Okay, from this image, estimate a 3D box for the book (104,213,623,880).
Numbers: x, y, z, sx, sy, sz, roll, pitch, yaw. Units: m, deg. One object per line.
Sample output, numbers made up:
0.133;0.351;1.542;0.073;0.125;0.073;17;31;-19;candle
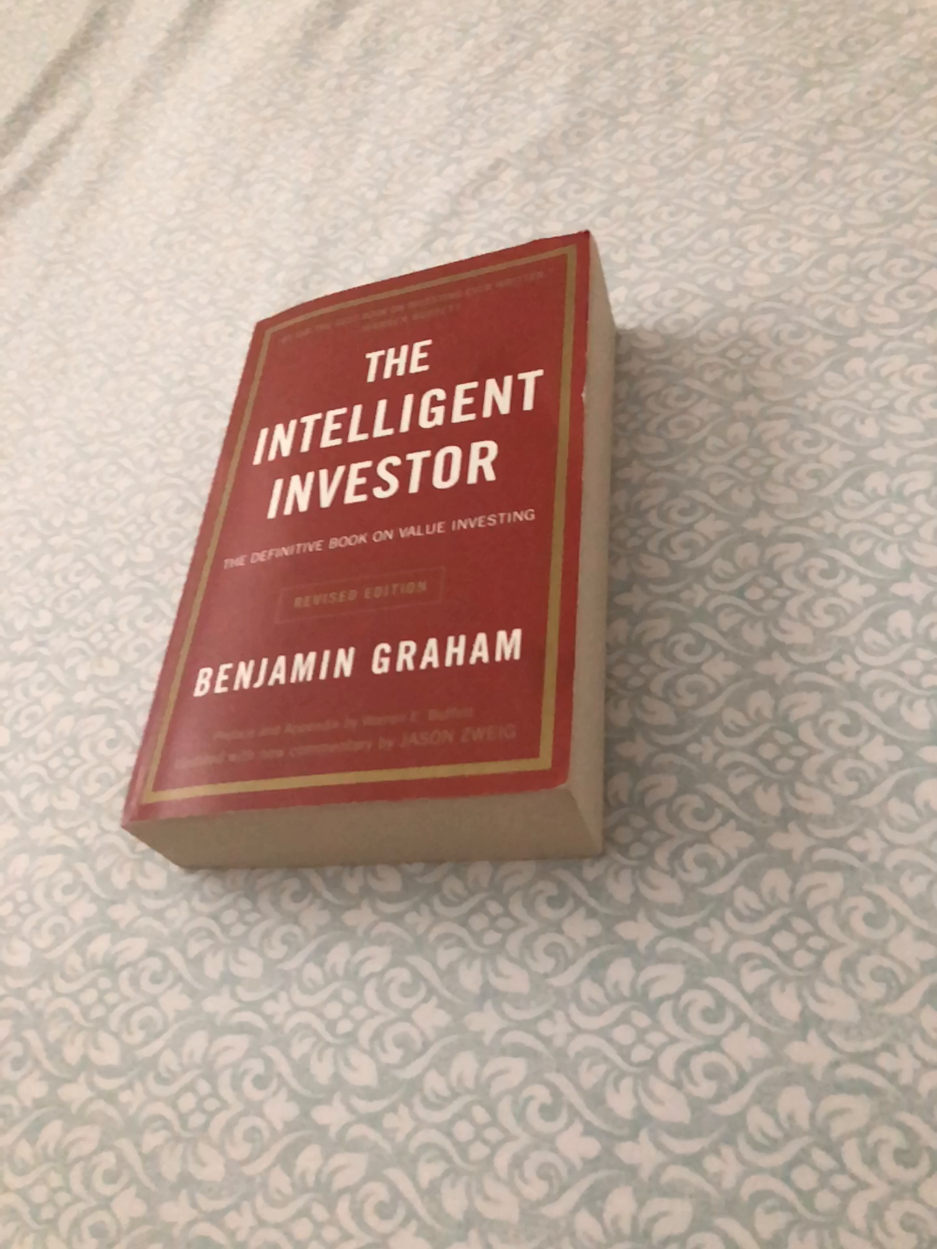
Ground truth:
-0.021;-0.028;0.327;0.130;0.050;0.200;-8;57;20;book
